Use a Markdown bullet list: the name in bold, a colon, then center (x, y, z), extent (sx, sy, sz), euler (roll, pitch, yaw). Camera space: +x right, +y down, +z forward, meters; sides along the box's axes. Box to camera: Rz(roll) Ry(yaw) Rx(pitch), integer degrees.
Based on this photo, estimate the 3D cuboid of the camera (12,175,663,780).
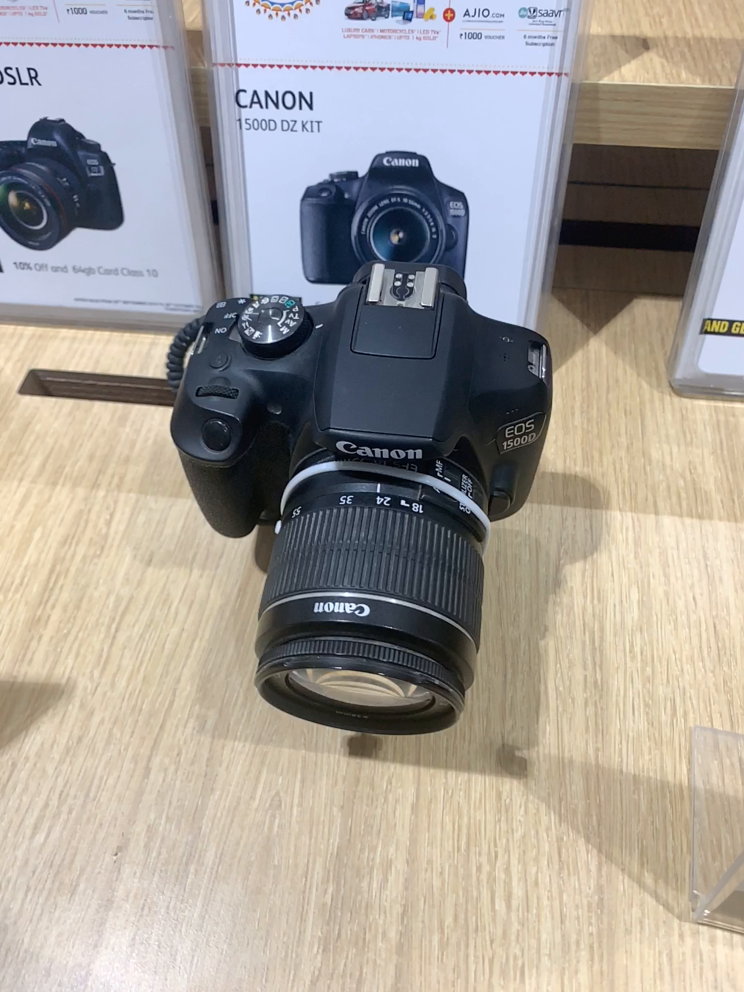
- **camera**: center (0.001, -0.011, 0.251), extent (0.140, 0.100, 0.160), euler (4, 55, 6)
